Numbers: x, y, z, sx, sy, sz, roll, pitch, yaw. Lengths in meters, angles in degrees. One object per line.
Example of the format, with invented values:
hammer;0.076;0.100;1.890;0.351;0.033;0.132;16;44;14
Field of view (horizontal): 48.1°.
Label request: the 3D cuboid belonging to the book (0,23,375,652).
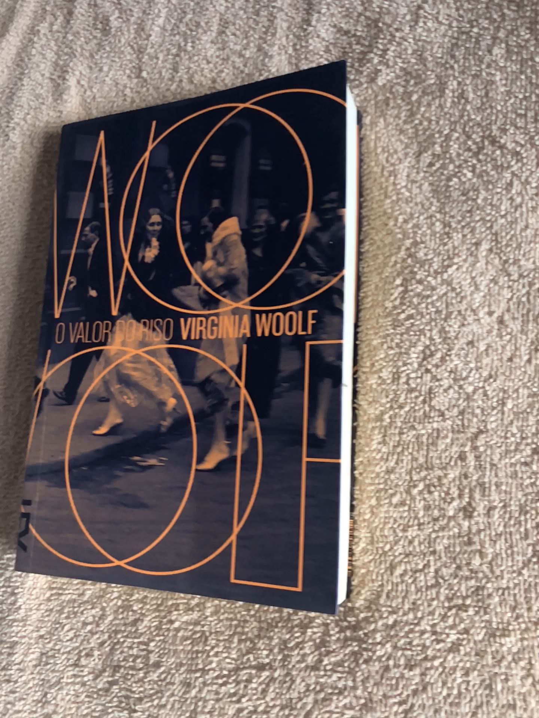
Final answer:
book;-0.035;-0.008;0.226;0.140;0.050;0.190;-1;83;18
